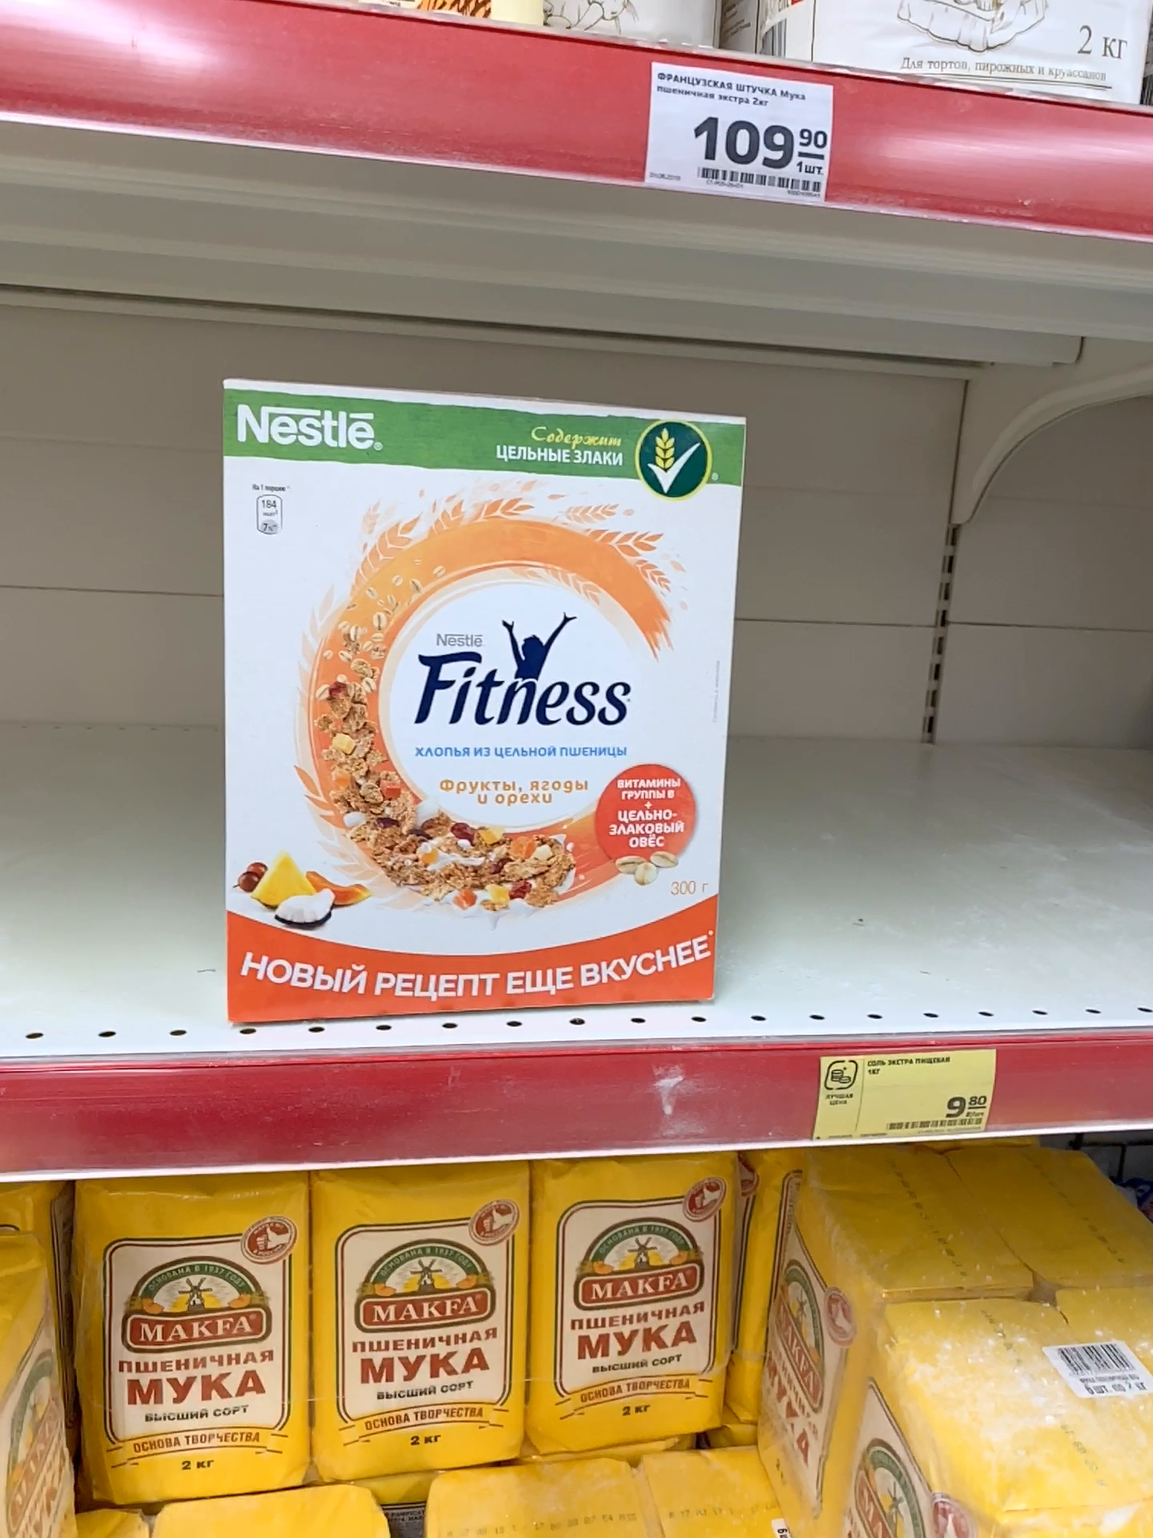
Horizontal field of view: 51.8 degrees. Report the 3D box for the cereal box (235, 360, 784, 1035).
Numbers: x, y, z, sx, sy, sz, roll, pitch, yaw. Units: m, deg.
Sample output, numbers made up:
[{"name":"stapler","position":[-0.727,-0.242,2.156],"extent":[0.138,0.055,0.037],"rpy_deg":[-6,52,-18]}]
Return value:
[{"name":"cereal box","position":[-0.030,-0.025,0.473],"extent":[0.200,0.239,0.060],"rpy_deg":[1,7,-13]}]
